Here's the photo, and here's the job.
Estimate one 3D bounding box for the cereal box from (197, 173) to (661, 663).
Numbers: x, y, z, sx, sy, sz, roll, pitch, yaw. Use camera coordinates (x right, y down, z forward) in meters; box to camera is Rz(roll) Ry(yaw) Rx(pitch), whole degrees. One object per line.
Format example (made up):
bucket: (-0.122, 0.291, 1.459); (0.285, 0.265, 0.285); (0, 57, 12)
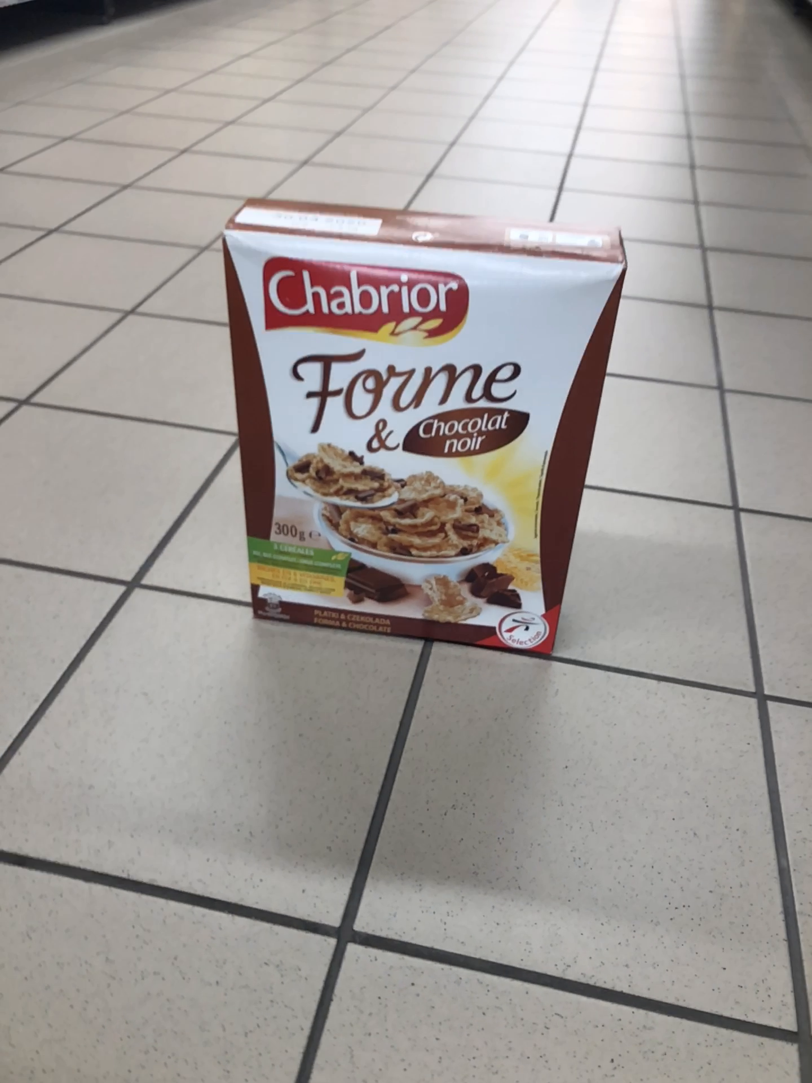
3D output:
cereal box: (0.008, -0.059, 0.504); (0.210, 0.248, 0.070); (7, 37, 5)
